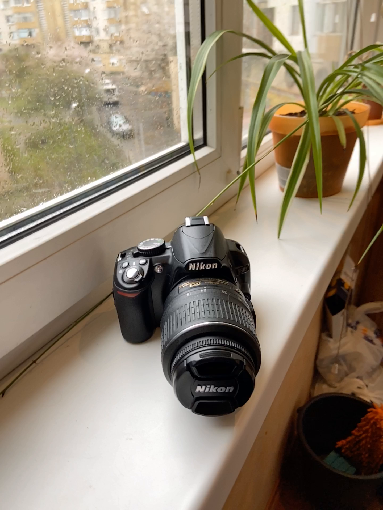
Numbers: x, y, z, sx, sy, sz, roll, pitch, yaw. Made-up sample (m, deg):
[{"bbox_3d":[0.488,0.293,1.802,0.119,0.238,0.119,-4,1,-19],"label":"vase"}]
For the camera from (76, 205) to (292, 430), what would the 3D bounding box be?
[{"bbox_3d":[-0.008,0.036,0.316,0.124,0.091,0.155,-4,30,-3],"label":"camera"}]
